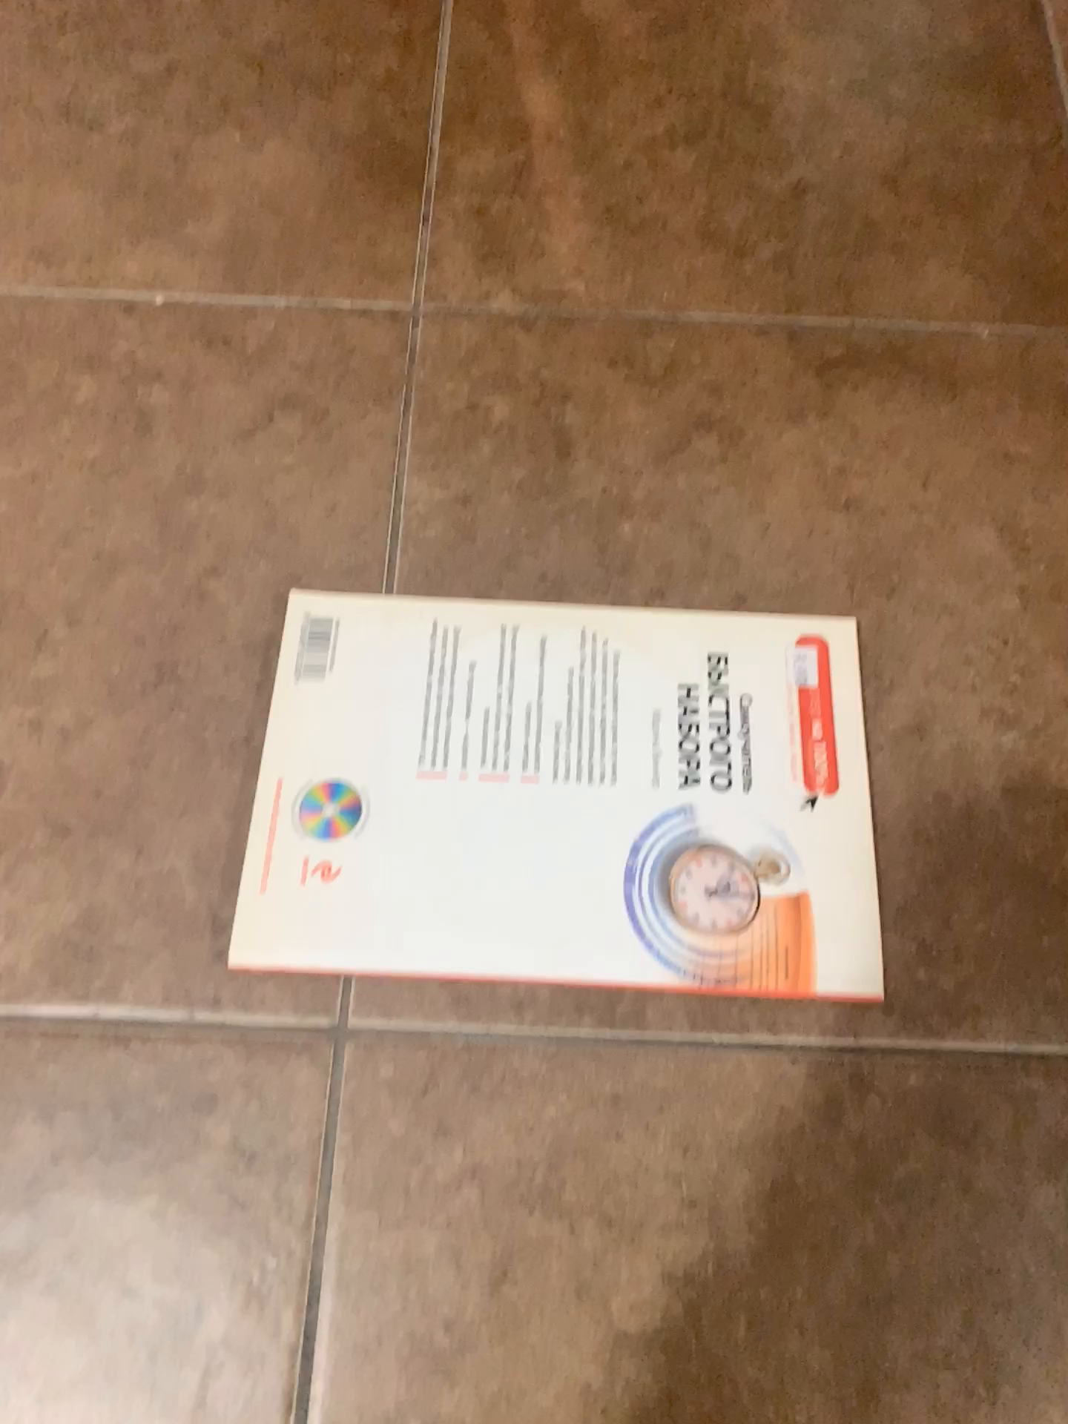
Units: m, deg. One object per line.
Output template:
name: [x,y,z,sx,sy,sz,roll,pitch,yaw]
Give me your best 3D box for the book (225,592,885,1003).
book: [0.010,0.025,0.377,0.210,0.009,0.134,3,67,1]
